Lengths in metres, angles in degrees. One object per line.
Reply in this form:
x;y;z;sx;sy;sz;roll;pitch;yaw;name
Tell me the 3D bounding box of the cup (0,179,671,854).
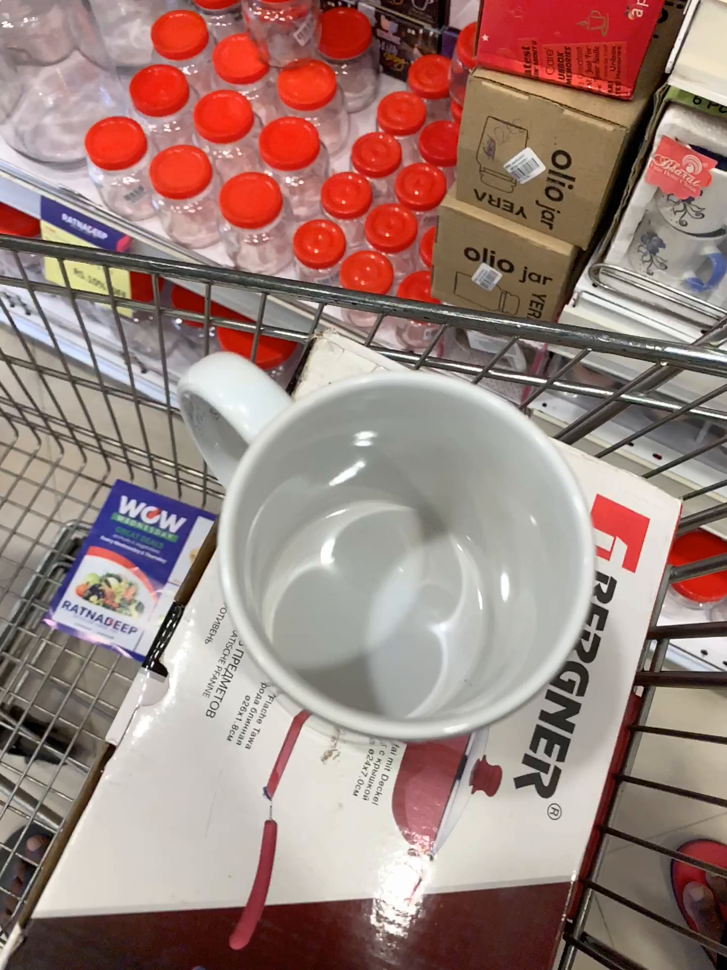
-0.013;0.011;0.188;0.120;0.090;0.080;36;74;9;cup
